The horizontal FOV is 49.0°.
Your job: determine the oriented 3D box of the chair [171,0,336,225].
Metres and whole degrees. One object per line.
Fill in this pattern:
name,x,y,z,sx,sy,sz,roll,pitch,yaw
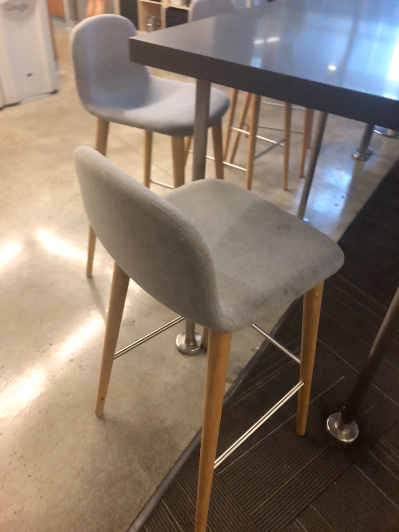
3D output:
chair,0.244,-0.827,2.290,0.540,0.981,0.504,24,38,23

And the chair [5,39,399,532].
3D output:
chair,0.060,0.069,1.078,0.664,0.981,0.502,-26,48,-32

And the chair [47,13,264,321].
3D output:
chair,-0.141,-0.373,1.736,0.540,0.981,0.505,16,40,15

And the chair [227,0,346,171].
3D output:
chair,0.521,-1.139,2.692,0.510,0.892,0.494,12,35,10
